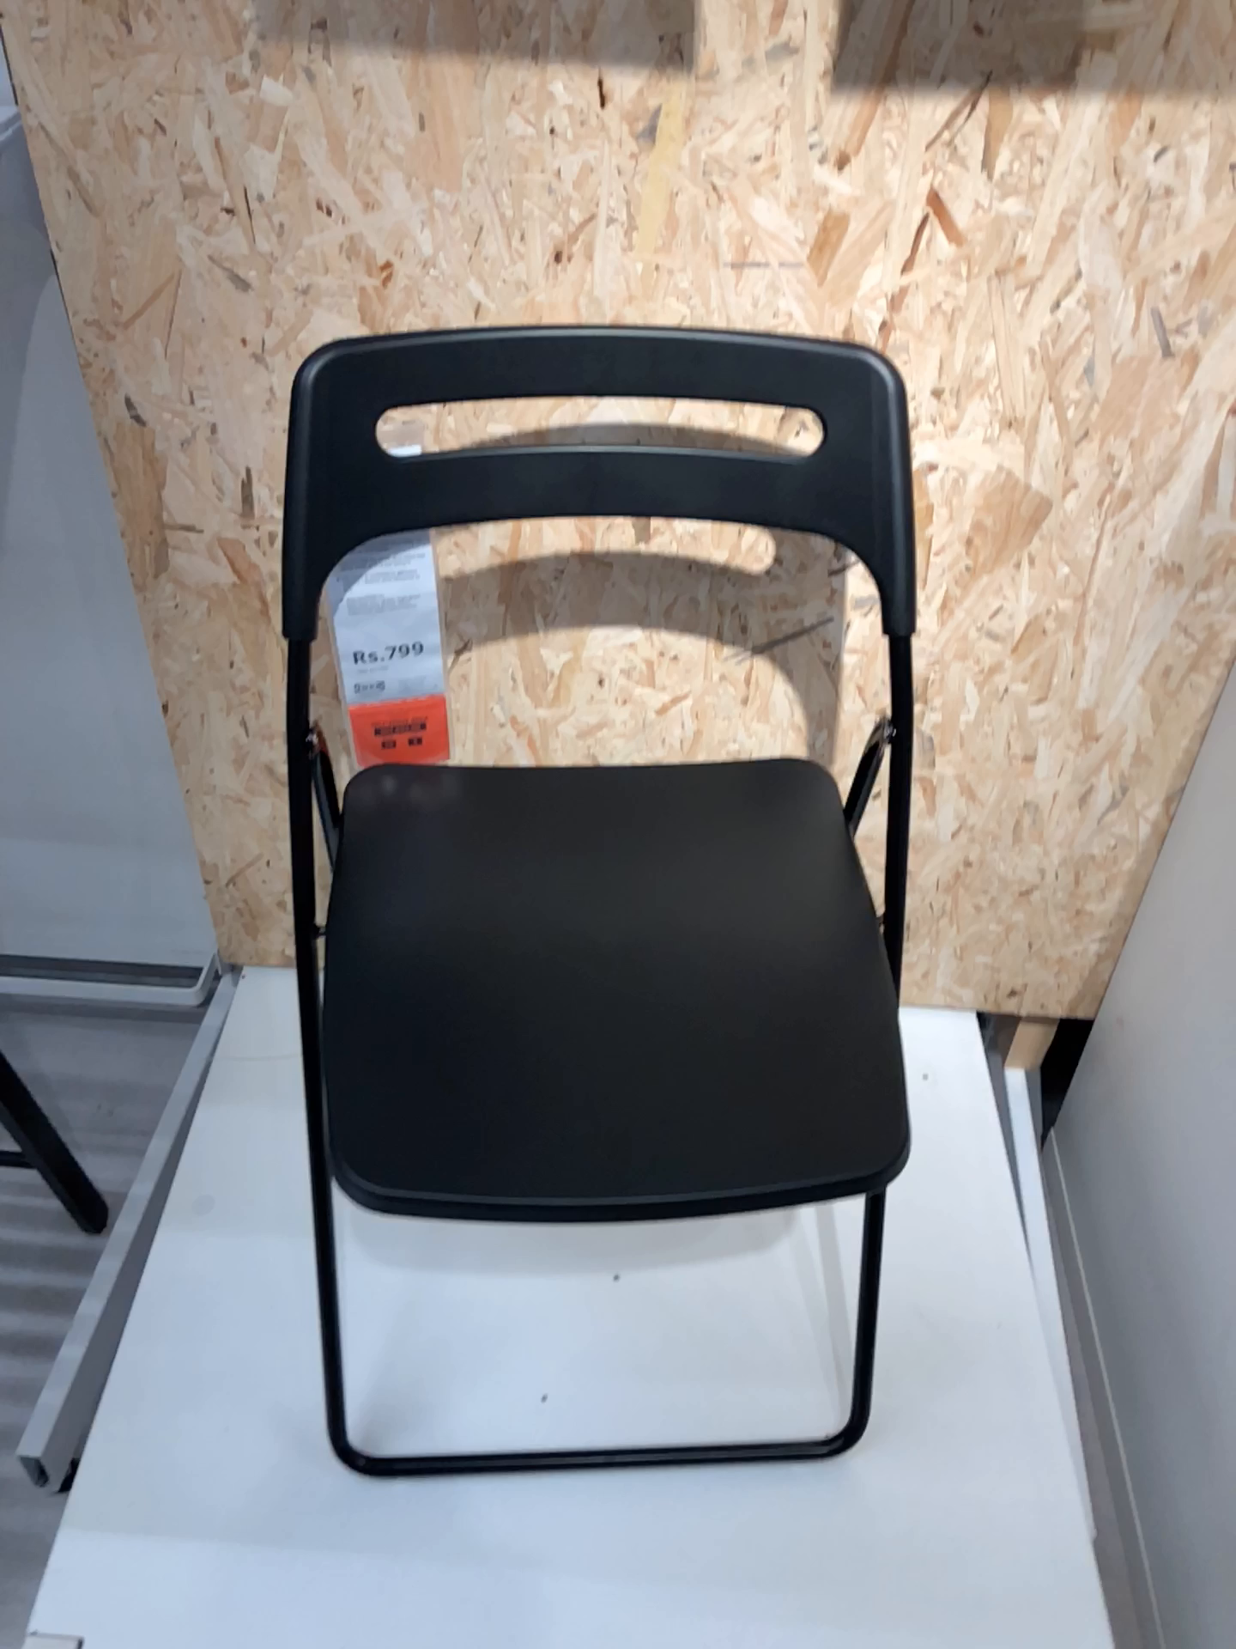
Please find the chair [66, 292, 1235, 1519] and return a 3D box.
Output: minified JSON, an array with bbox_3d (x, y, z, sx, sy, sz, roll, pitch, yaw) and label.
[{"bbox_3d":[0.004,0.079,0.998,0.490,0.735,0.523,0,41,-2],"label":"chair"}]
